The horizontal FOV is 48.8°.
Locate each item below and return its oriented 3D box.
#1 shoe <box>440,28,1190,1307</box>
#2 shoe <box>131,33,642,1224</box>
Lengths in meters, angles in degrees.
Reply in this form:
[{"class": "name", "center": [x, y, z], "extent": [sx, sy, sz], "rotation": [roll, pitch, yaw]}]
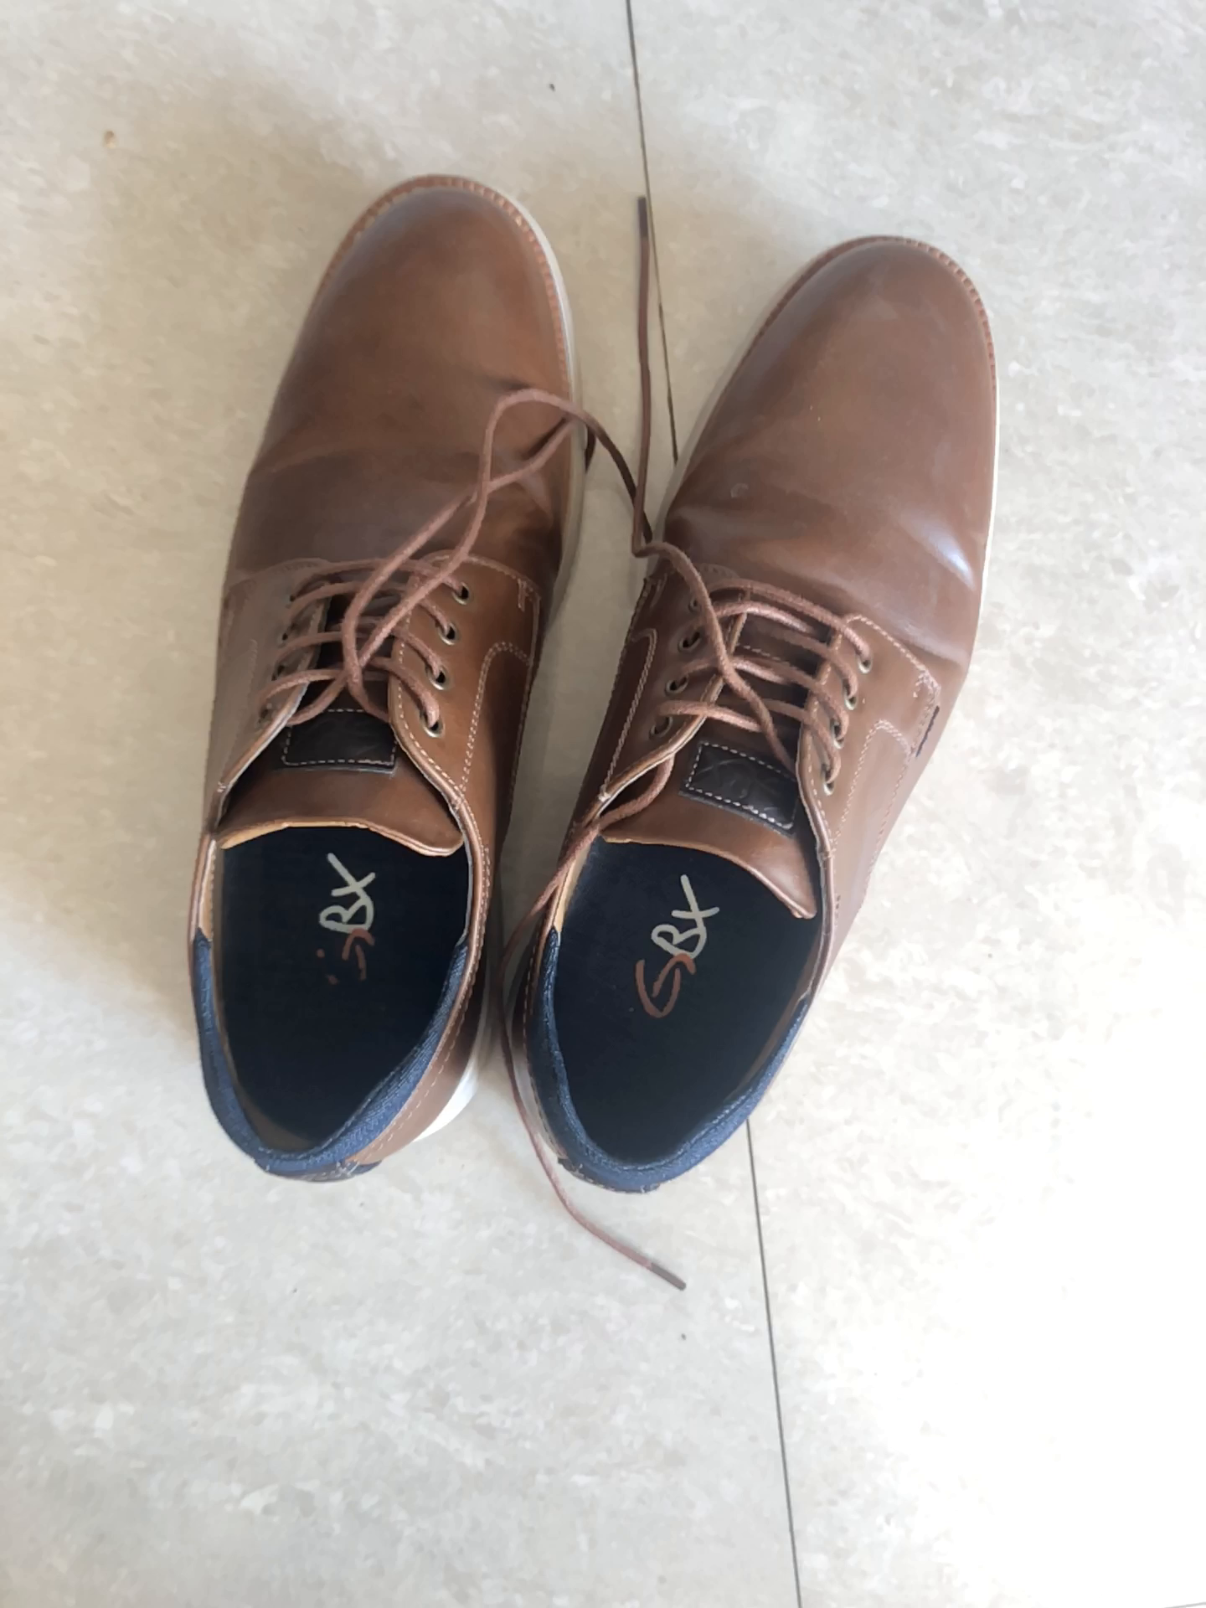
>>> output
[{"class": "shoe", "center": [0.054, -0.035, 0.389], "extent": [0.100, 0.100, 0.310], "rotation": [18, 90, 1]}, {"class": "shoe", "center": [-0.058, -0.047, 0.407], "extent": [0.100, 0.100, 0.310], "rotation": [7, 90, 1]}]
